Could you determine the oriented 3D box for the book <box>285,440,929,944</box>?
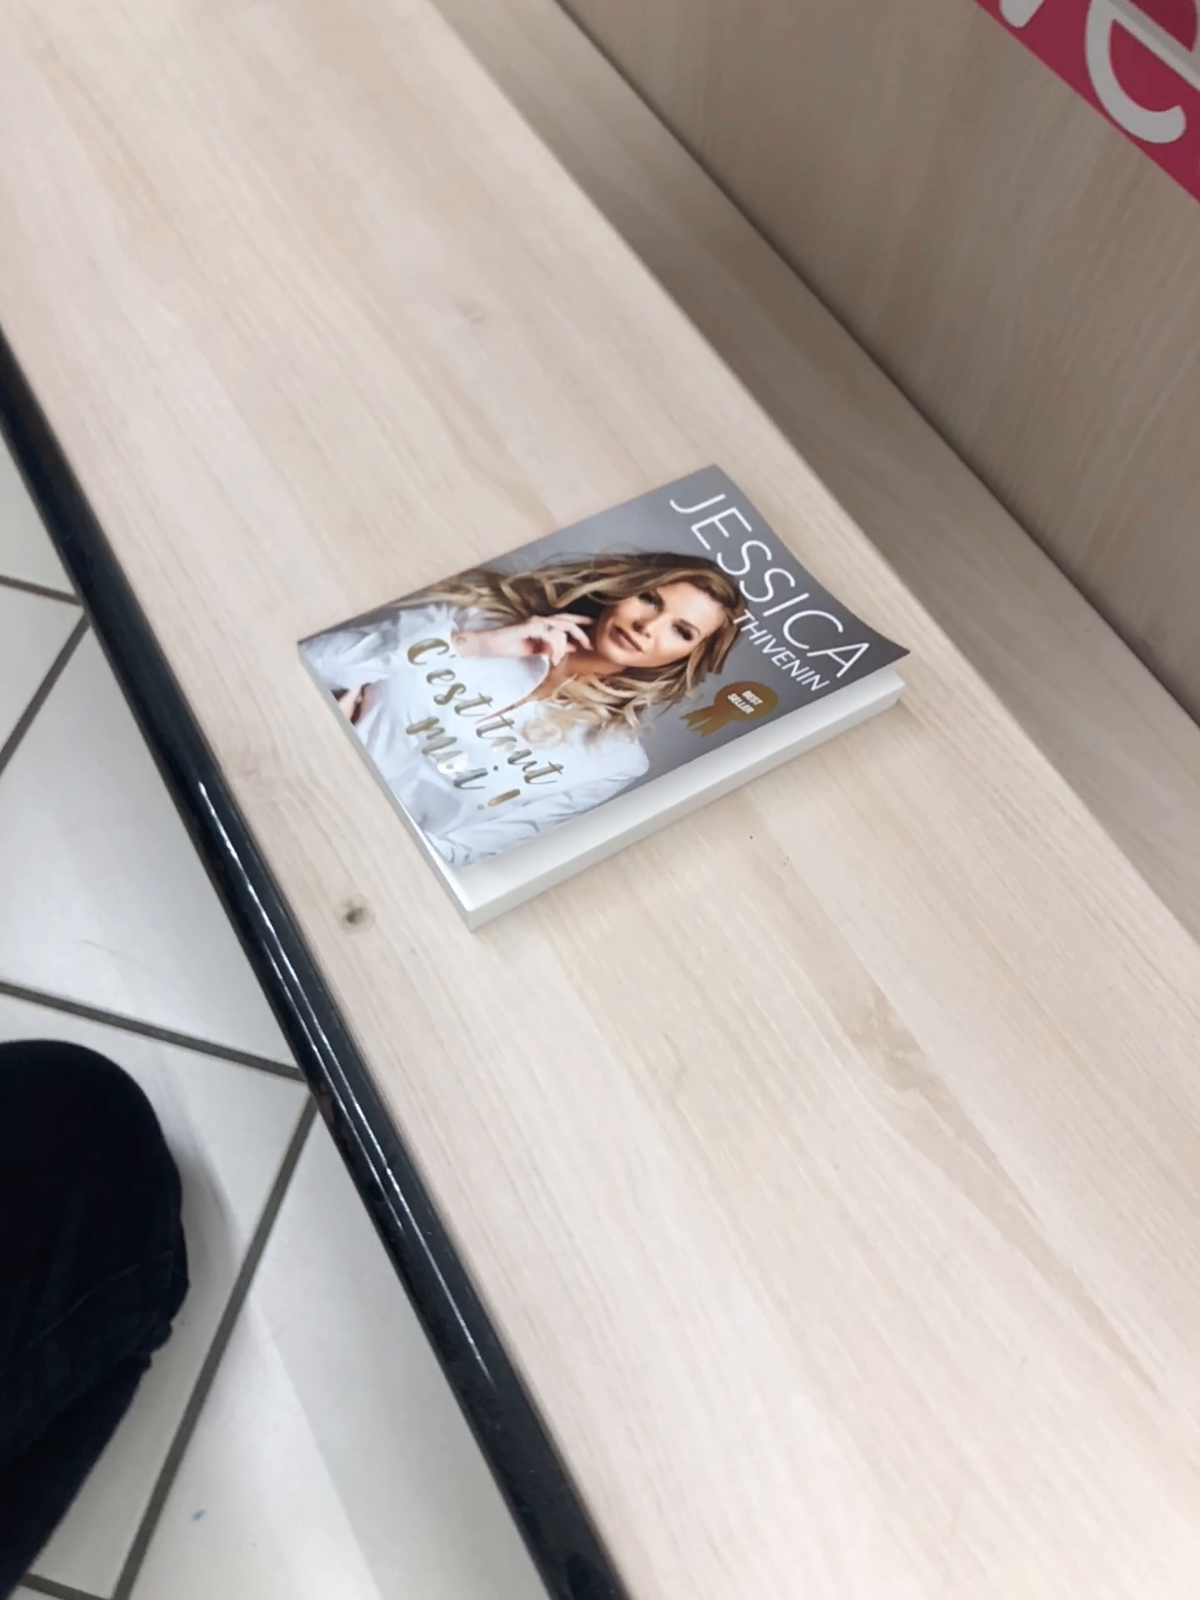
[{"bbox_3d":[0.004,-0.054,0.536,0.213,0.020,0.146,-27,66,-19],"label":"book"}]
